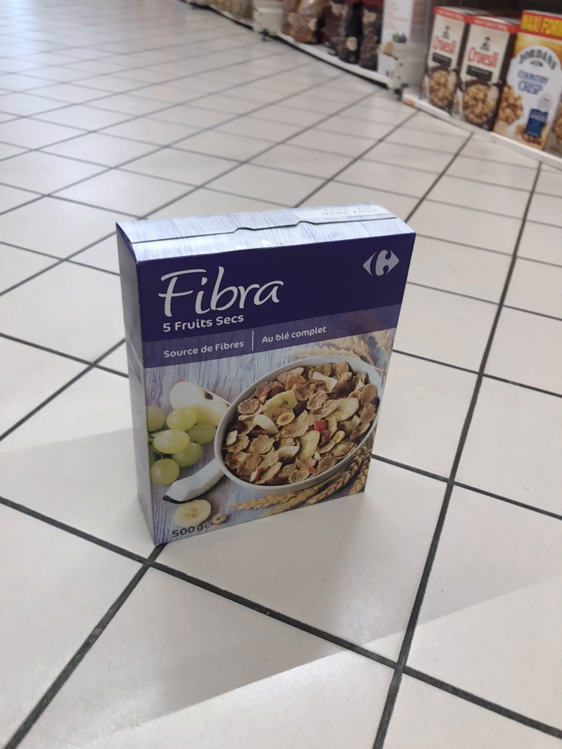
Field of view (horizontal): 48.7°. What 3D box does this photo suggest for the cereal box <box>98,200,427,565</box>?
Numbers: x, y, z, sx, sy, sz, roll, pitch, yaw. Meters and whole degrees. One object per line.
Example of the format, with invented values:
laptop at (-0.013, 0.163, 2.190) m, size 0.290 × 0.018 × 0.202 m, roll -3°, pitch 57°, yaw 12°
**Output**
cereal box at (-0.020, 0.007, 0.495) m, size 0.211 × 0.258 × 0.080 m, roll -10°, pitch 36°, yaw -21°
